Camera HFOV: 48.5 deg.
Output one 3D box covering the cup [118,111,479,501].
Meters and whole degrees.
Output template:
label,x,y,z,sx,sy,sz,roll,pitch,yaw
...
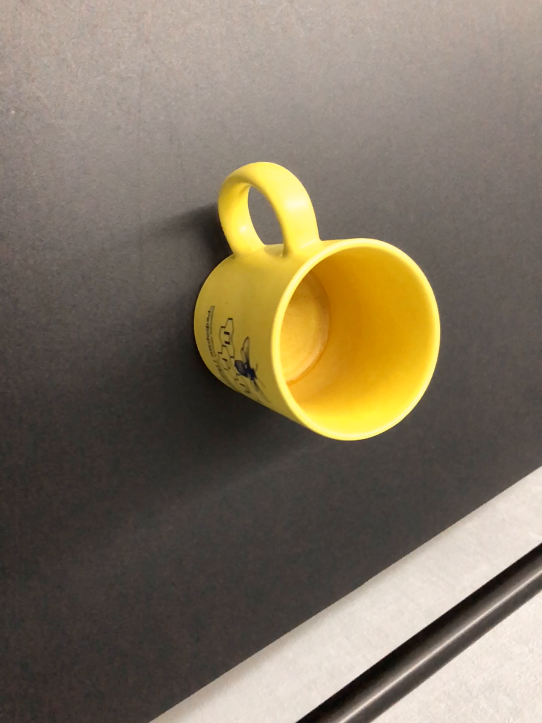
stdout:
label,x,y,z,sx,sy,sz,roll,pitch,yaw
cup,0.010,-0.027,0.281,0.090,0.101,0.125,-33,112,-18
